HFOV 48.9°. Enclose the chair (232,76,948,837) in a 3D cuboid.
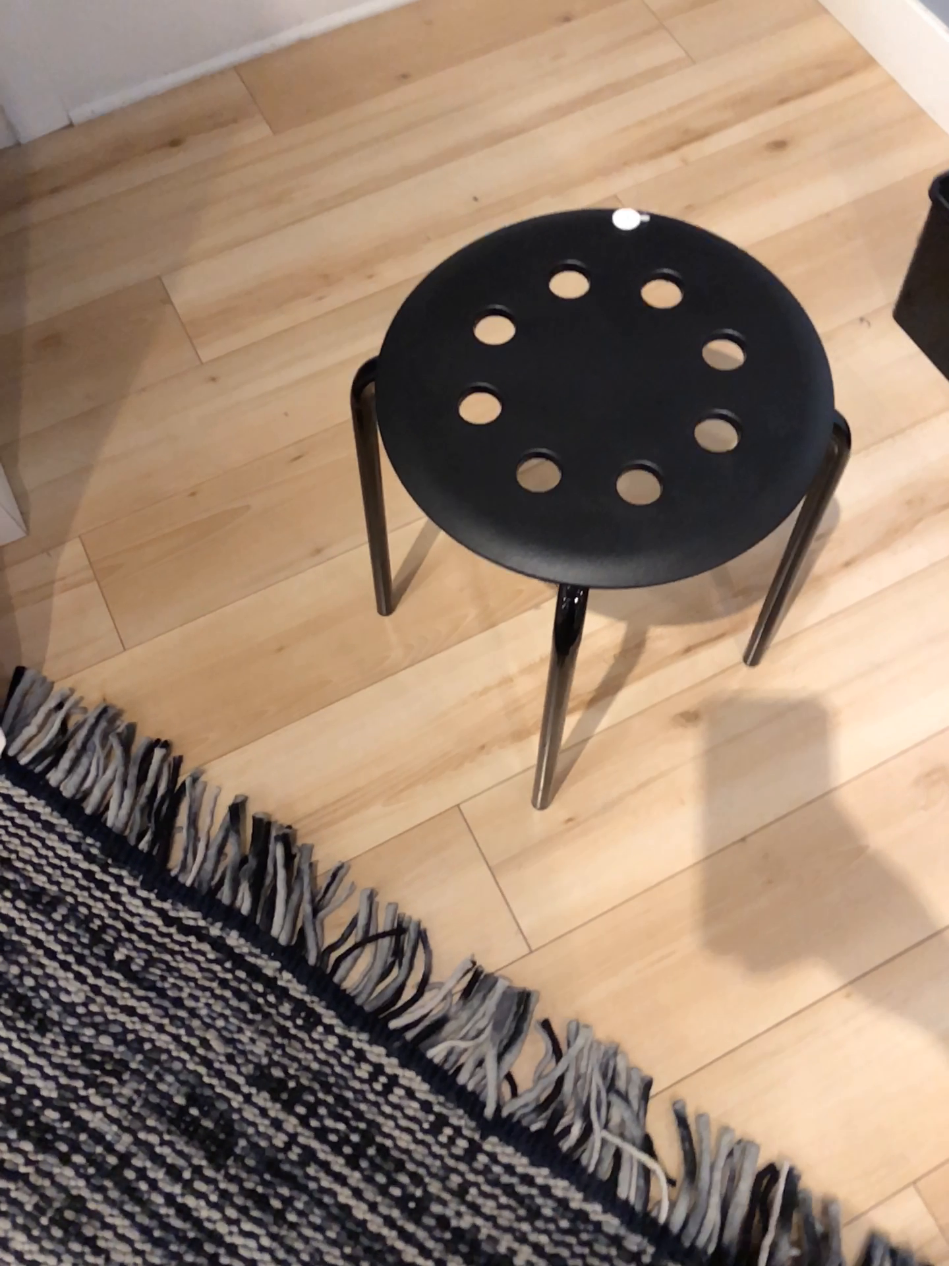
[{"bbox_3d":[0.089,-0.126,0.915,0.370,0.400,0.380,-32,69,-12],"label":"chair"}]
